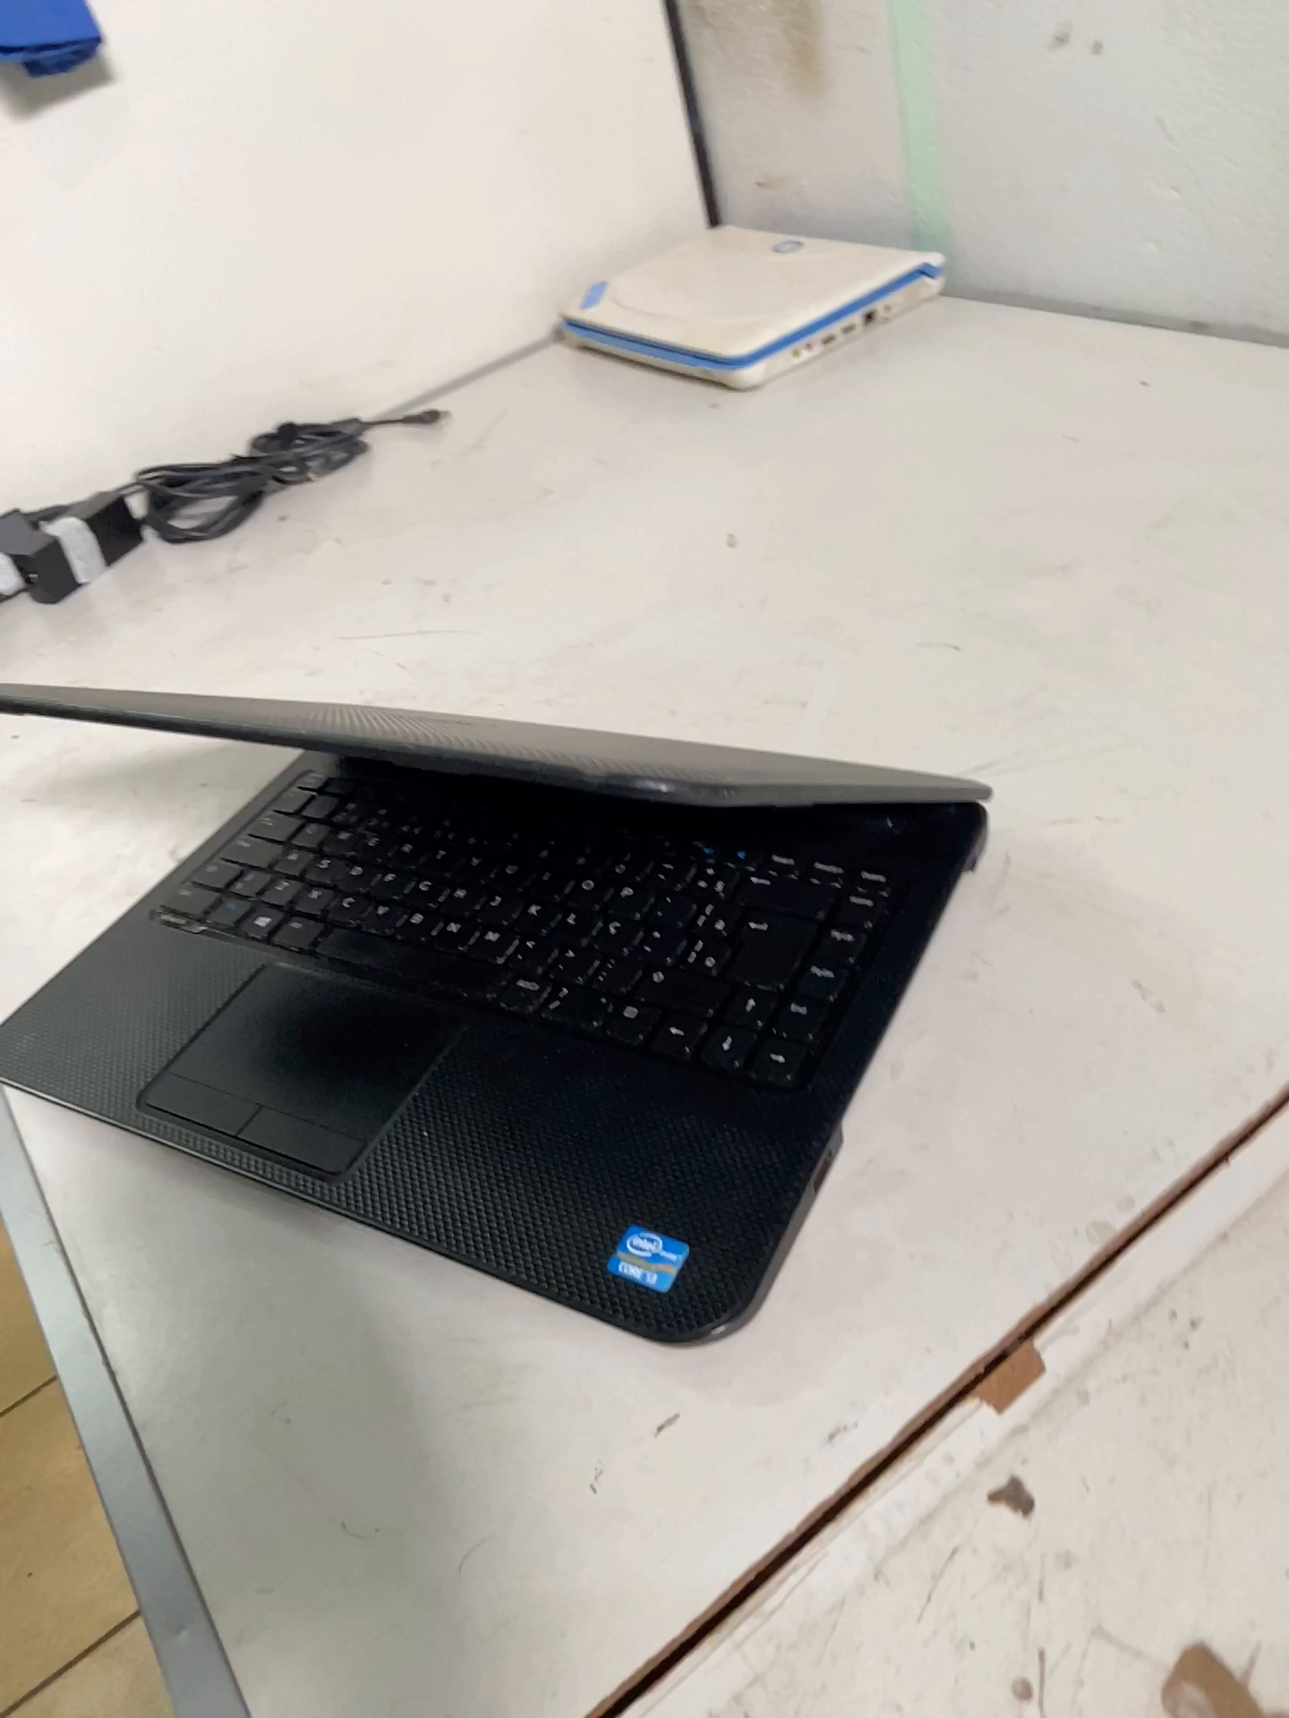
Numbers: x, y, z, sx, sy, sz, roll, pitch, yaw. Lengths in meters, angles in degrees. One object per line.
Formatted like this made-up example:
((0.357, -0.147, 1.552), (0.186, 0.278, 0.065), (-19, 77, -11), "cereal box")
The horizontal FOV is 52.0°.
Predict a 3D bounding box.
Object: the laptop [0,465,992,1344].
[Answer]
((-0.081, -0.020, 0.468), (0.331, 0.141, 0.231), (10, 45, 31), "laptop")
